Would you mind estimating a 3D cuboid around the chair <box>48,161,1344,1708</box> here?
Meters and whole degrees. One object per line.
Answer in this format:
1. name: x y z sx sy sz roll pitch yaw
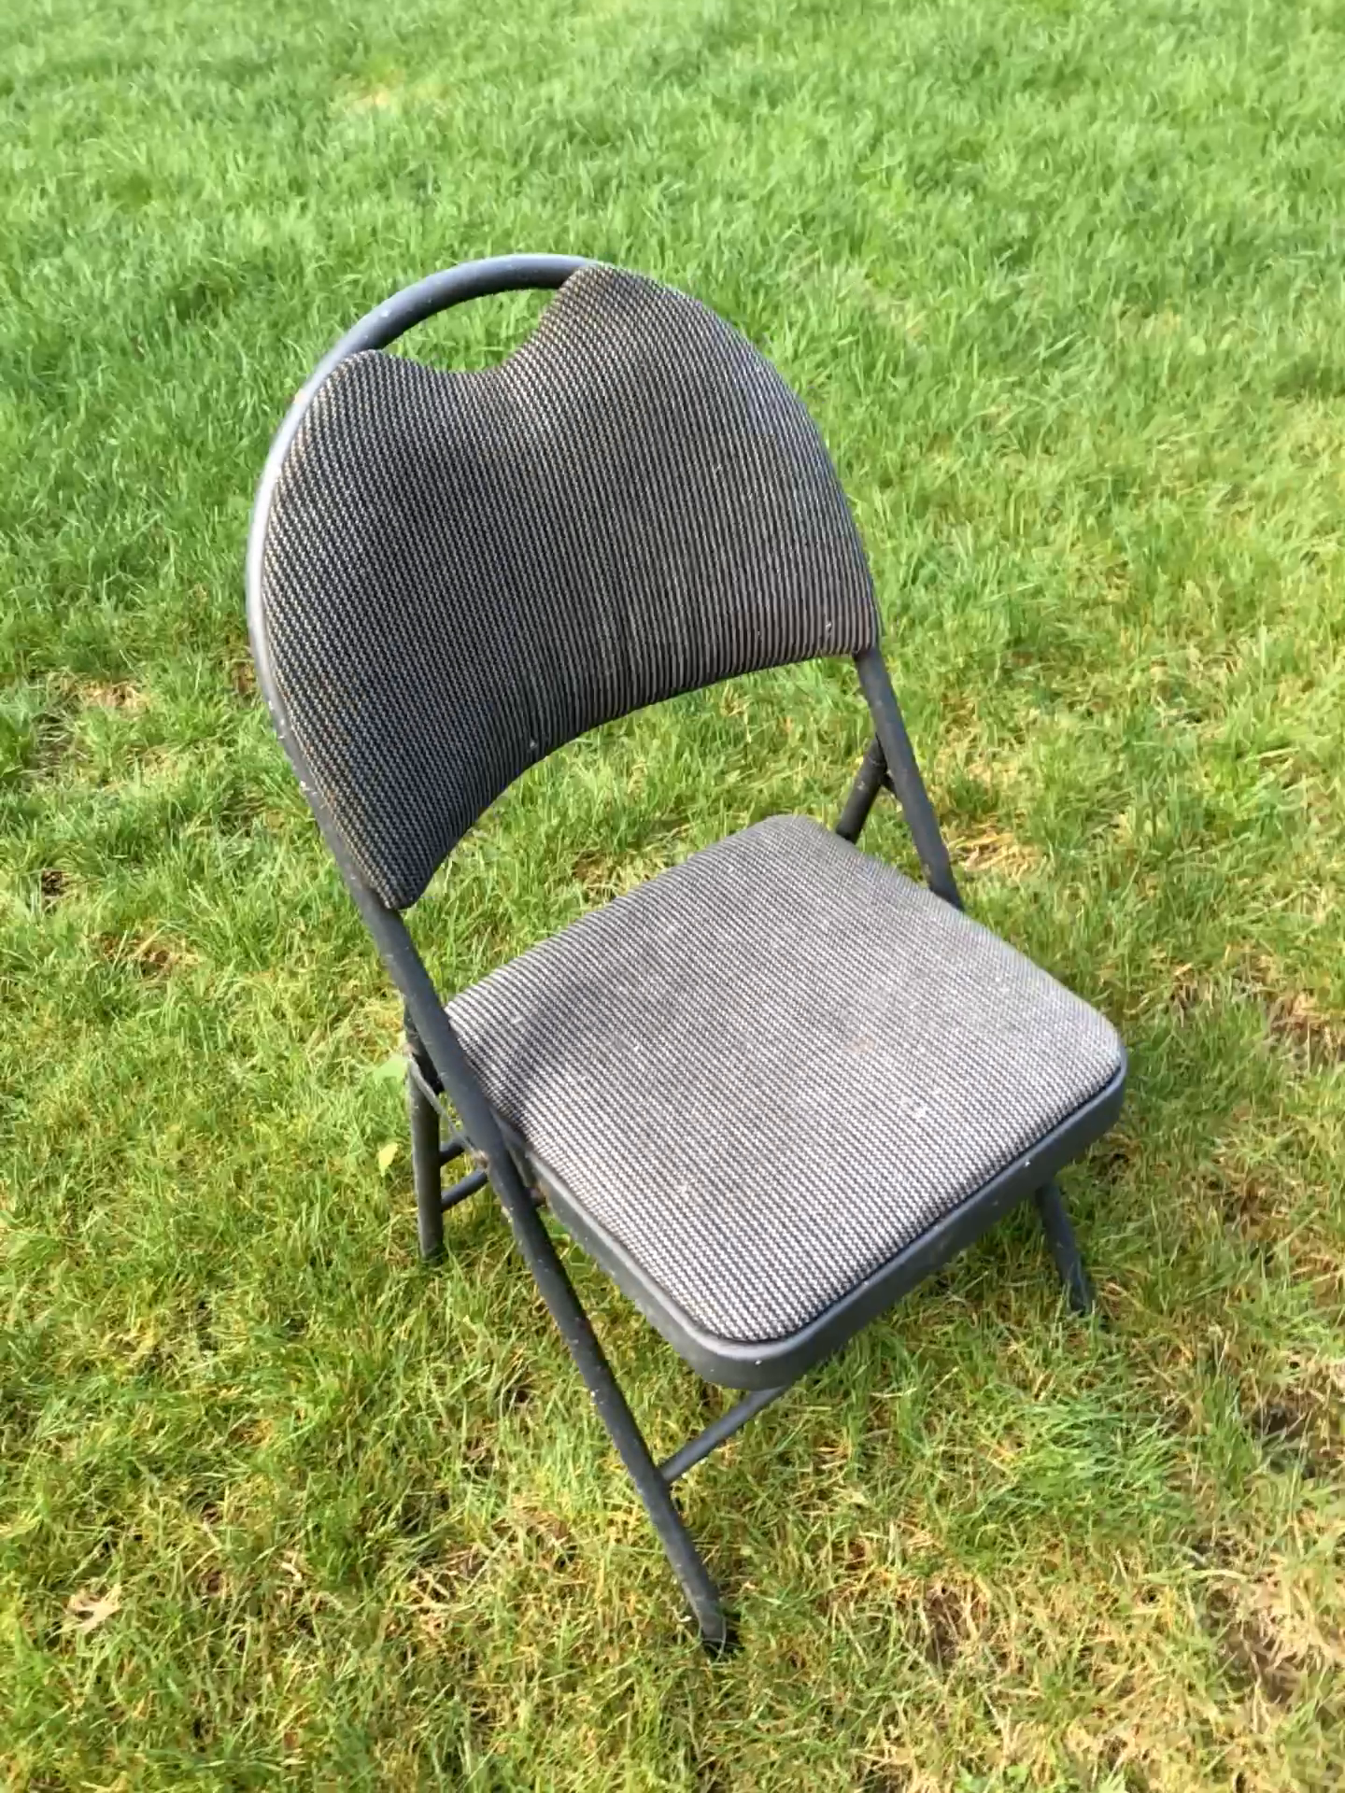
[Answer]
1. chair: 0.043 0.031 1.073 0.531 0.815 0.573 -30 49 -24
